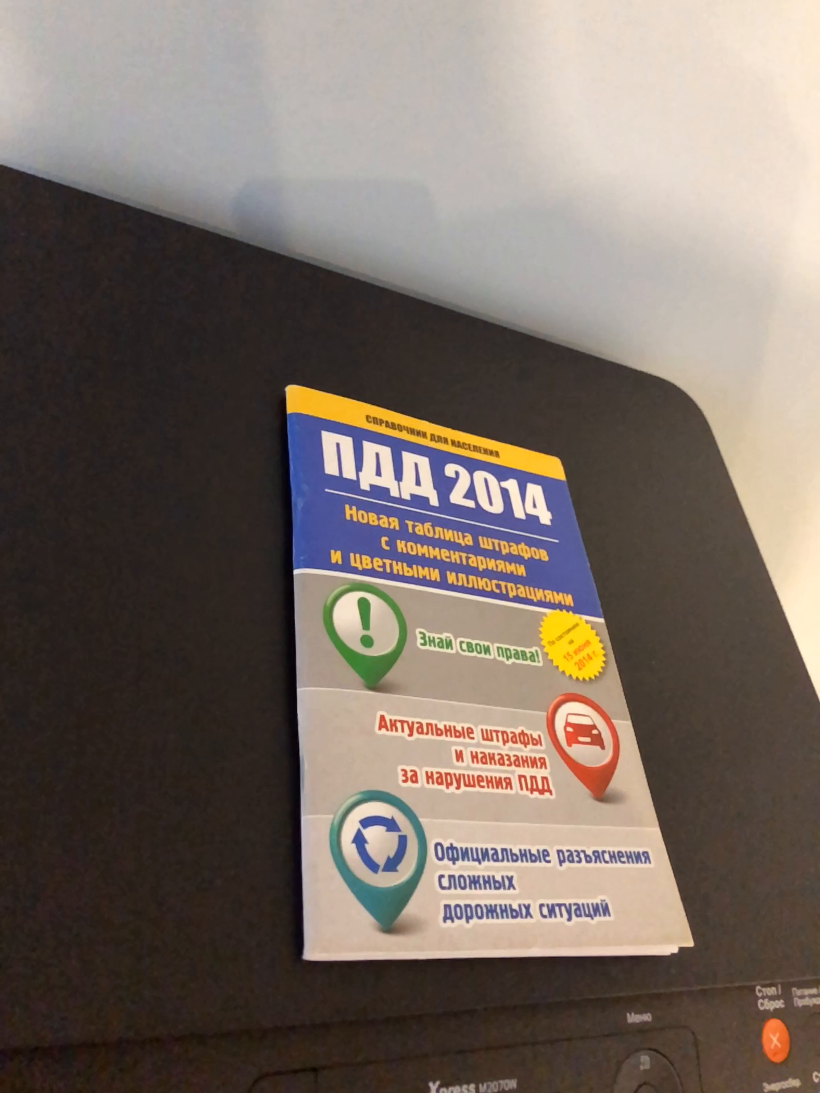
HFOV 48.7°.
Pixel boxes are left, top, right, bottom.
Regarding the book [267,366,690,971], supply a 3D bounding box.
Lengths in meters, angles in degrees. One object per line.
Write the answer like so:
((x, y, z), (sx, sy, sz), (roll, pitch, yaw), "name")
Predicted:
((0.016, 0.032, 0.308), (0.130, 0.010, 0.201), (11, 53, -26), "book")
